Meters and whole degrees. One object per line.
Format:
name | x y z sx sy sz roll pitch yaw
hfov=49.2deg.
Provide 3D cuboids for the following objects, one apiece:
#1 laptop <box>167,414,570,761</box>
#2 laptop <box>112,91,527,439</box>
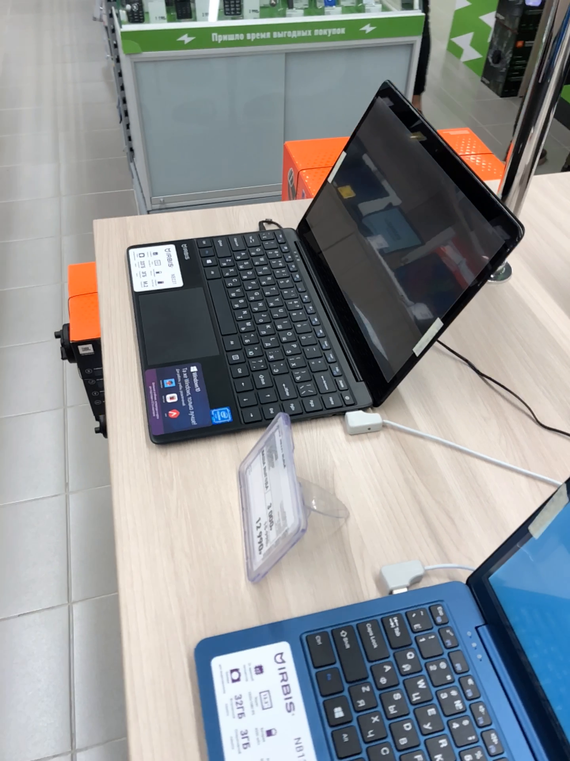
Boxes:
laptop | 0.107 0.203 0.278 0.265 0.186 0.310 -7 45 -10
laptop | 0.002 -0.136 0.626 0.306 0.172 0.305 -9 45 -10
